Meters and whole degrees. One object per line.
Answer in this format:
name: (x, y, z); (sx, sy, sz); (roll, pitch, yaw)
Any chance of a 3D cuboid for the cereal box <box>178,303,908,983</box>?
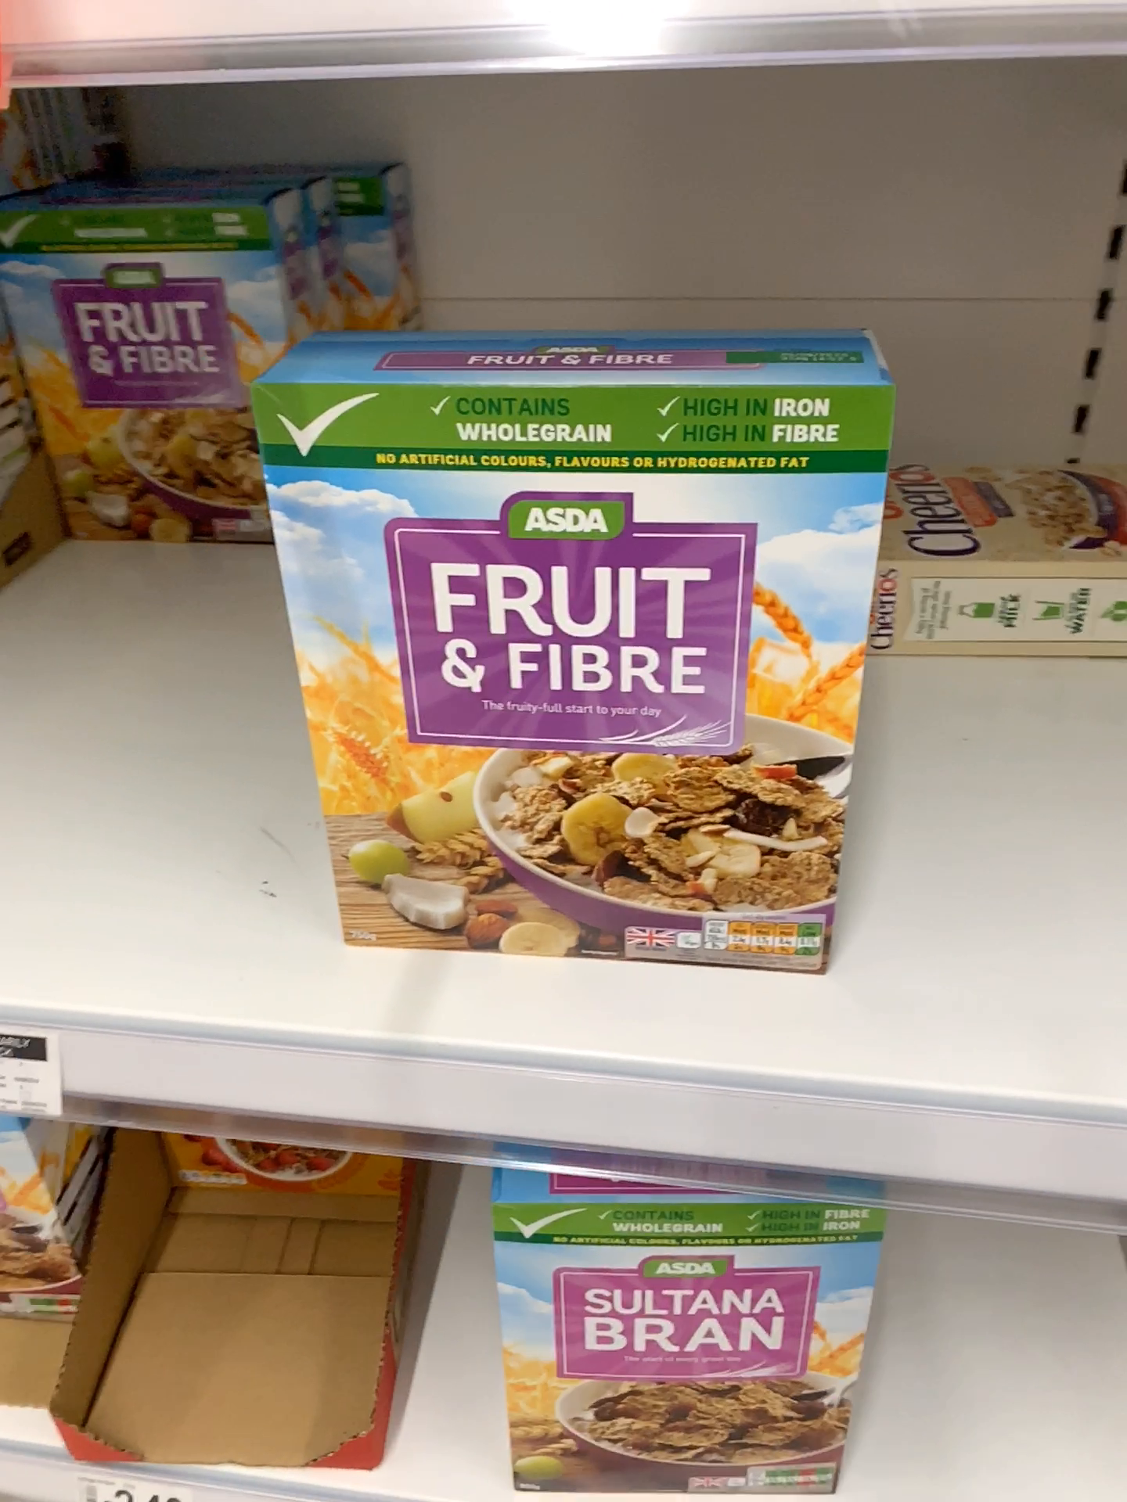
cereal box: (-0.001, -0.038, 0.474); (0.240, 0.257, 0.081); (2, 31, 8)
